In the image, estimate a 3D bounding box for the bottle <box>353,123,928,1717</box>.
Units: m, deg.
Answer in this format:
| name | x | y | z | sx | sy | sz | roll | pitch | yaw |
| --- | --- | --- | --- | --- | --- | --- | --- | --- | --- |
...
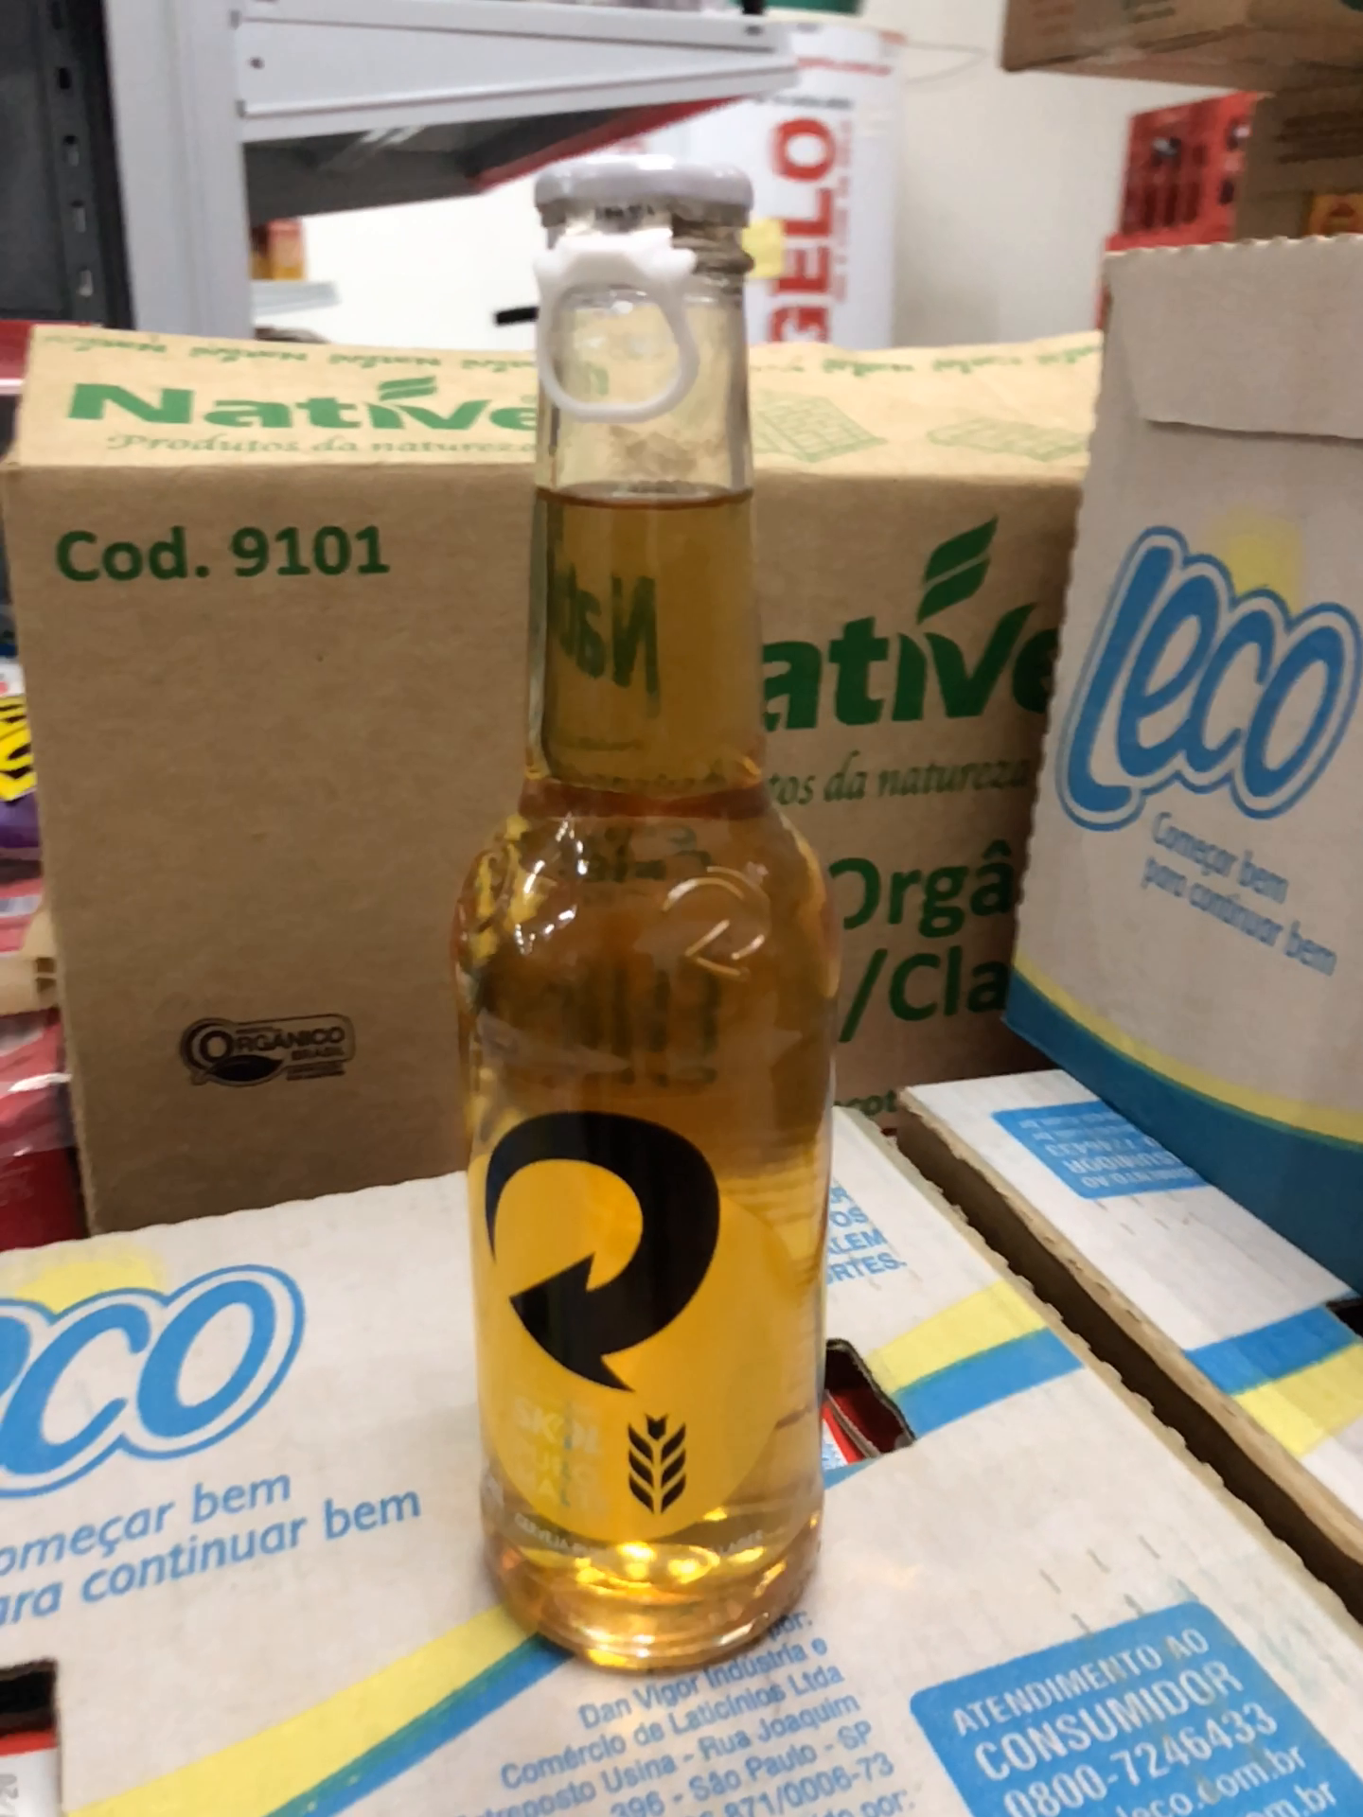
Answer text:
| name | x | y | z | sx | sy | sz | roll | pitch | yaw |
| --- | --- | --- | --- | --- | --- | --- | --- | --- | --- |
| bottle | -0.002 | 0.008 | 0.218 | 0.060 | 0.209 | 0.060 | 1 | 19 | 0 |
